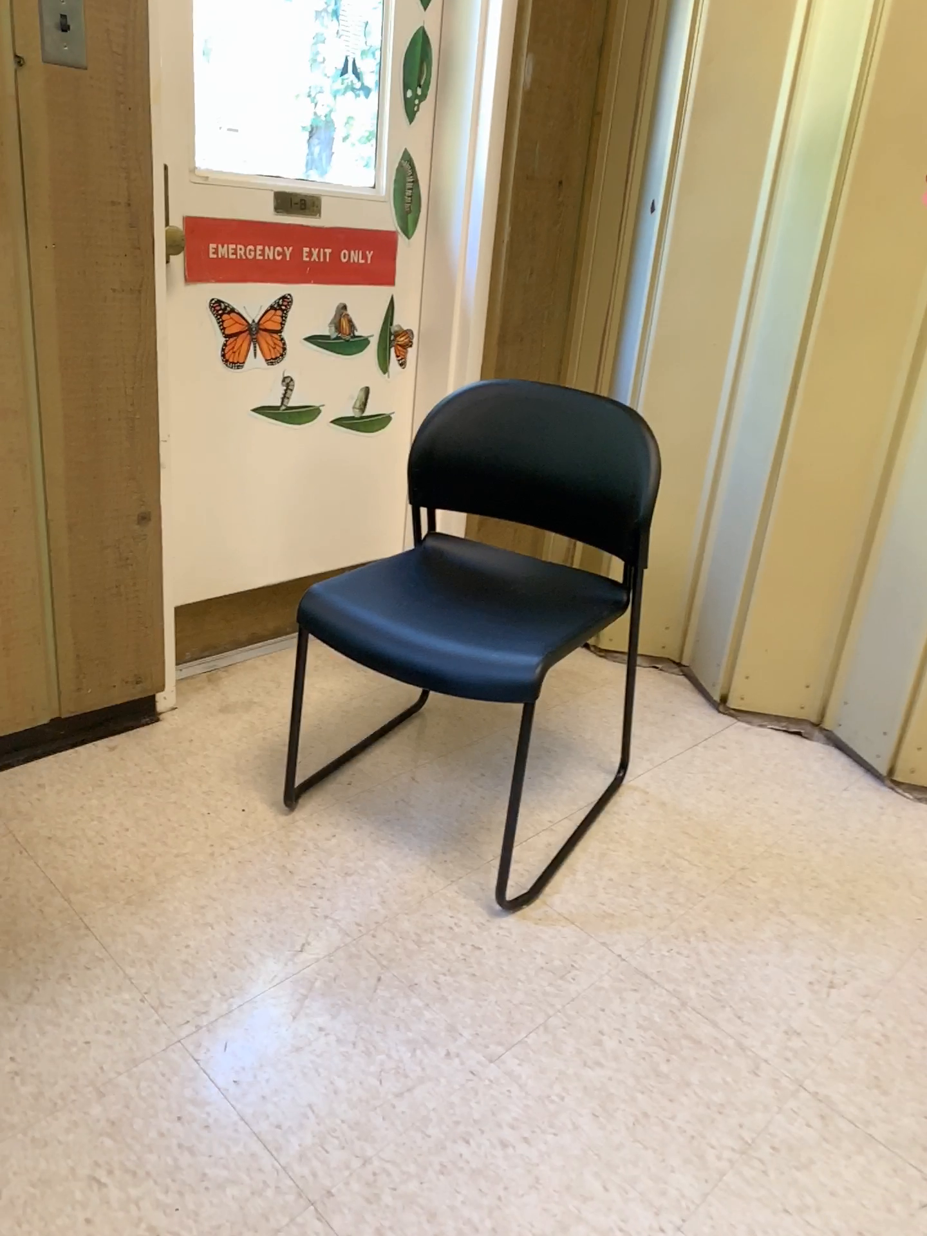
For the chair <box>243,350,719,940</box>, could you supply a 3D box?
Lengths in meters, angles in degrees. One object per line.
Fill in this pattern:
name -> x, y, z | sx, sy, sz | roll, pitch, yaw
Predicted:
chair -> 0.031, -0.021, 1.743 | 0.581, 0.796, 0.623 | 16, 24, 24
